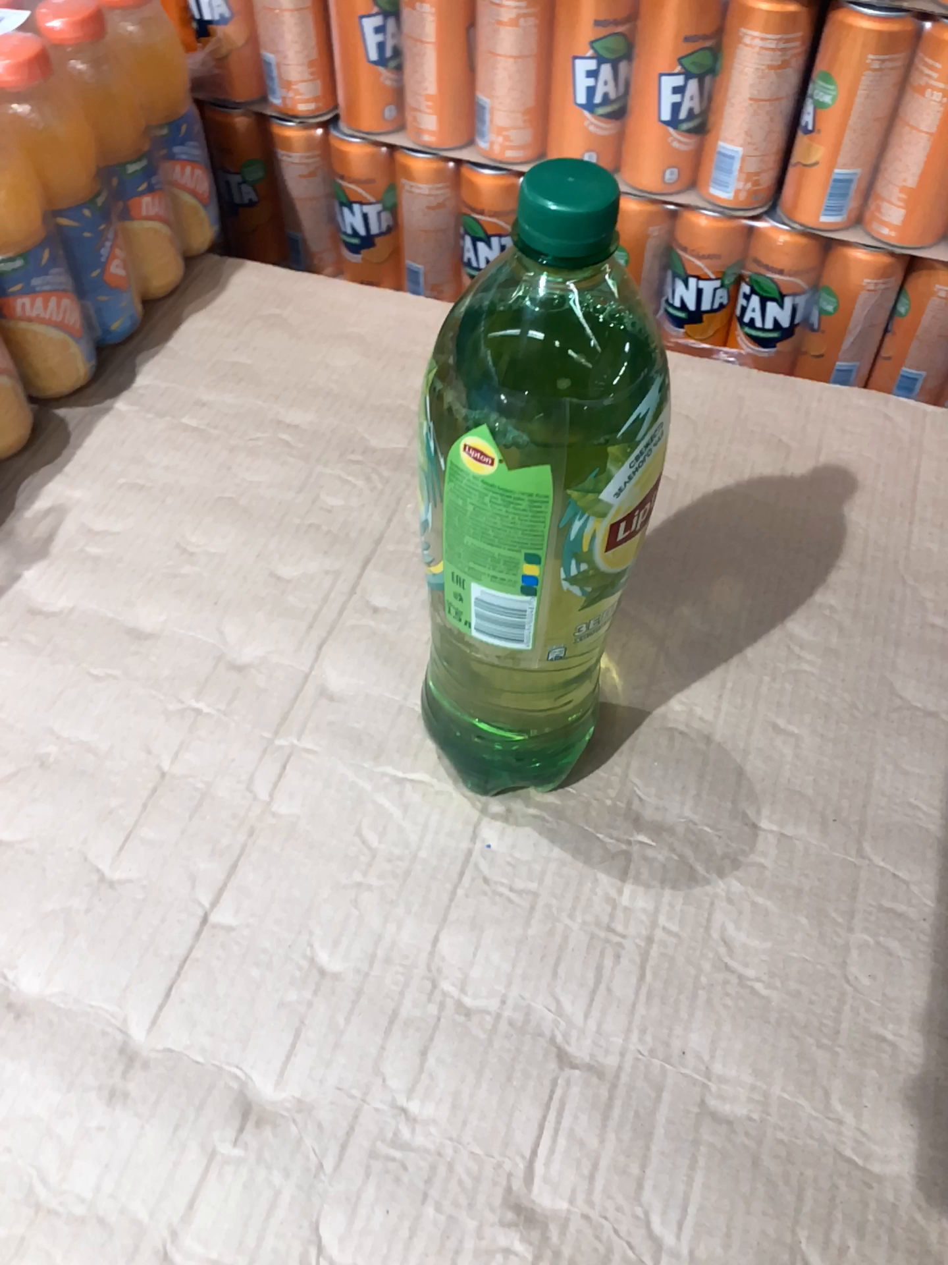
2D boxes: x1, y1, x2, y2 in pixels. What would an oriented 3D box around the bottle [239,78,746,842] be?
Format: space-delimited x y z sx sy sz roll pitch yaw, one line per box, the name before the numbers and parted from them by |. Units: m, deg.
bottle | 0.009 -0.049 0.443 0.120 0.288 0.121 0 53 -1
